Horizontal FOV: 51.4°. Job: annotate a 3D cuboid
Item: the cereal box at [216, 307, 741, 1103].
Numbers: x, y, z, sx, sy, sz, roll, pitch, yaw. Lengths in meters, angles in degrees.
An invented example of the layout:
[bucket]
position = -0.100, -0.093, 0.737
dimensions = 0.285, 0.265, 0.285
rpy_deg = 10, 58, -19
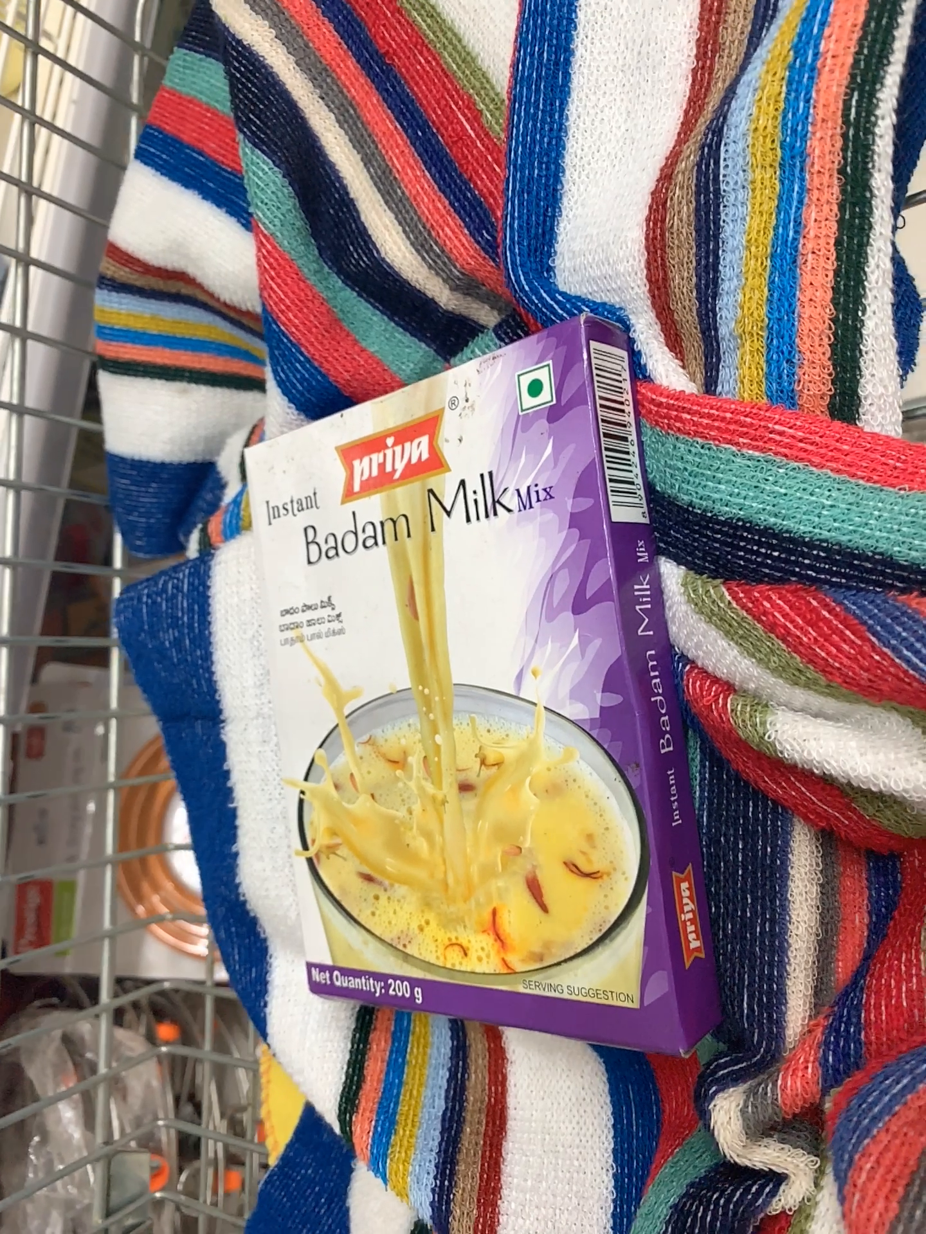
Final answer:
[cereal box]
position = -0.004, 0.023, 0.241
dimensions = 0.121, 0.030, 0.160
rpy_deg = -9, 85, 37
